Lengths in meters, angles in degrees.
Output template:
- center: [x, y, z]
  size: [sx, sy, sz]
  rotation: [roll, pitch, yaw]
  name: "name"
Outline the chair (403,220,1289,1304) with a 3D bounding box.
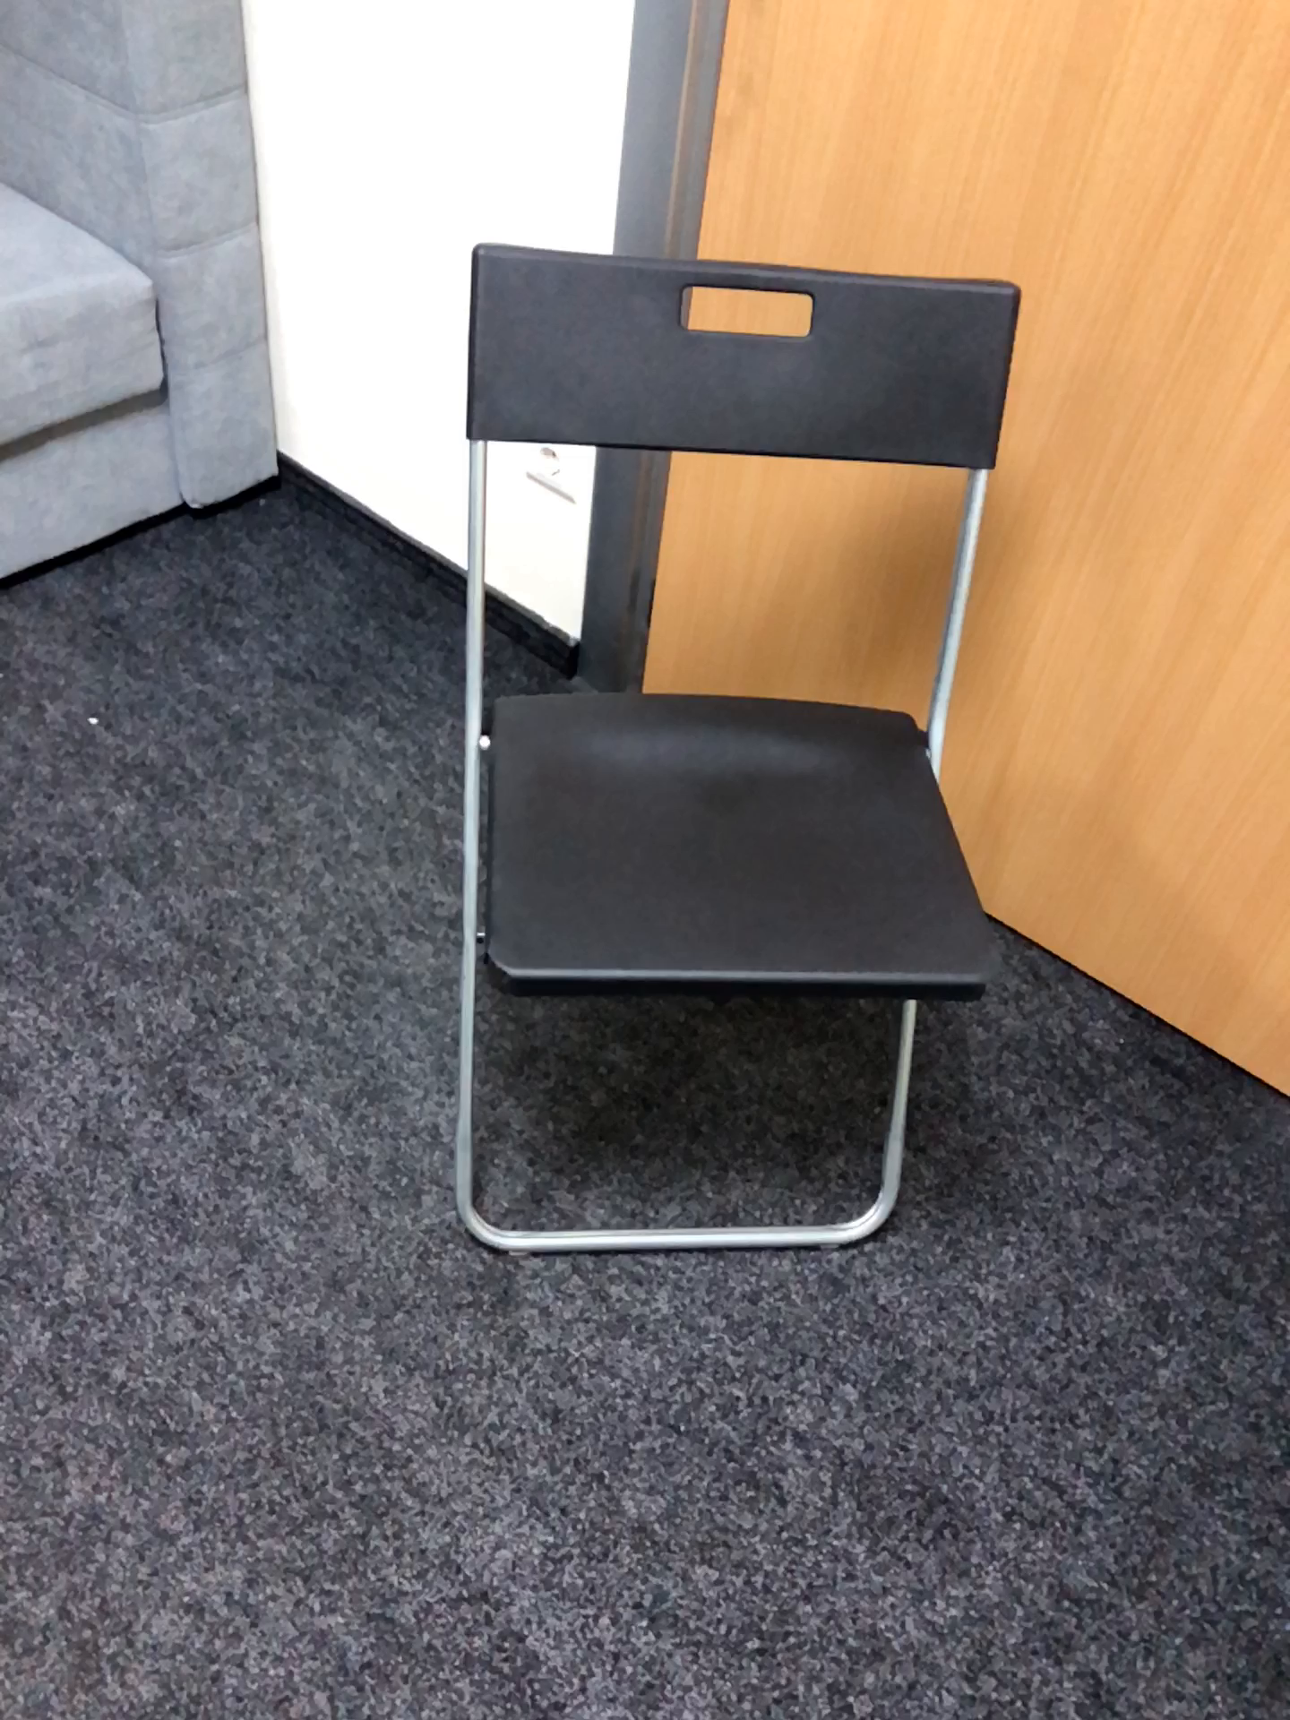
- center: [0.066, -0.037, 1.153]
  size: [0.480, 0.725, 0.483]
  rotation: [2, 46, -7]
  name: "chair"
